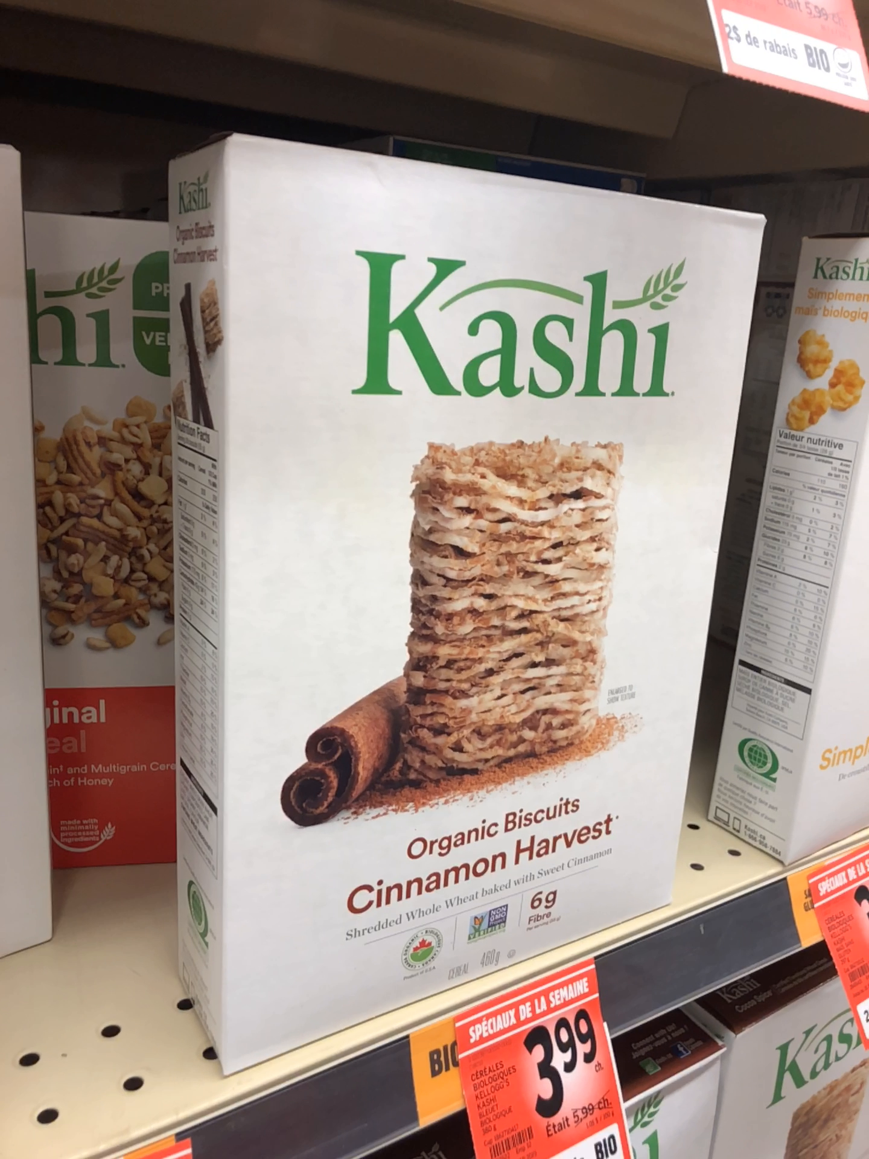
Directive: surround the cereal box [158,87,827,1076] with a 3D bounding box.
[{"bbox_3d":[0.016,0.000,0.330,0.200,0.269,0.070,-6,20,-32],"label":"cereal box"}]
